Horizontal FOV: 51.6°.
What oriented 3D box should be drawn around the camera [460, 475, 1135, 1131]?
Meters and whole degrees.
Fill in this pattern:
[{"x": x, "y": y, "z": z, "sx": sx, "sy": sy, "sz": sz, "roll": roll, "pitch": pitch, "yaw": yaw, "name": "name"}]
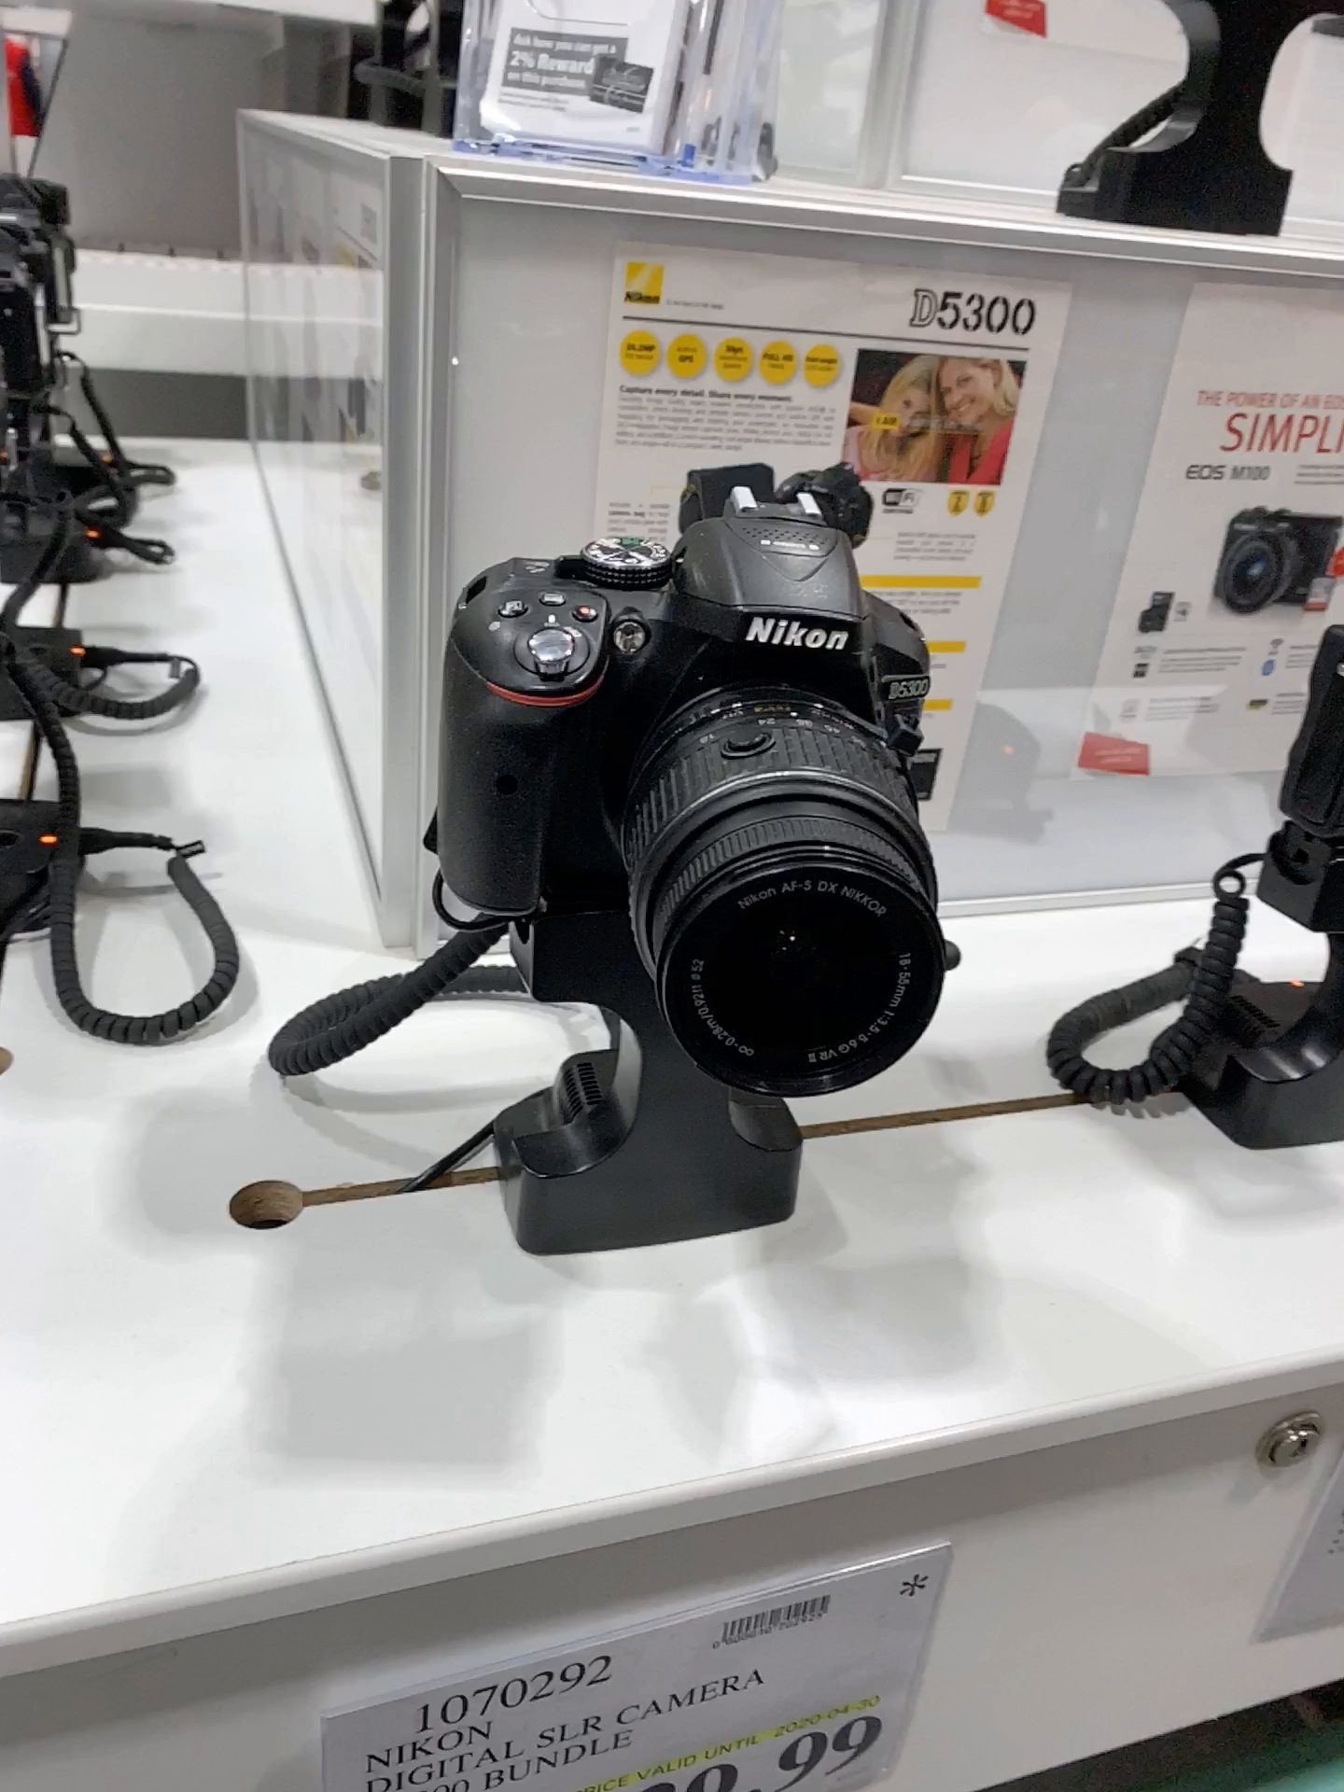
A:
[{"x": 0.012, "y": -0.031, "z": 0.335, "sx": 0.120, "sy": 0.099, "sz": 0.151, "roll": 2, "pitch": 28, "yaw": -9, "name": "camera"}]
